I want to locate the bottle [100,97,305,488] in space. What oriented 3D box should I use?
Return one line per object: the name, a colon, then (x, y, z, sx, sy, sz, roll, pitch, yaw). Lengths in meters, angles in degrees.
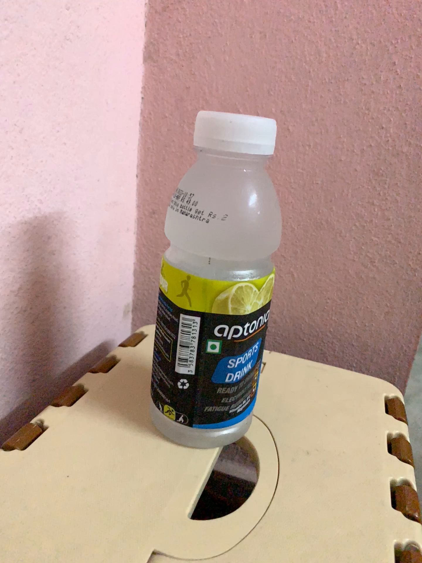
bottle: (-0.010, 0.004, 0.232, 0.060, 0.179, 0.070, 24, 26, 40)
